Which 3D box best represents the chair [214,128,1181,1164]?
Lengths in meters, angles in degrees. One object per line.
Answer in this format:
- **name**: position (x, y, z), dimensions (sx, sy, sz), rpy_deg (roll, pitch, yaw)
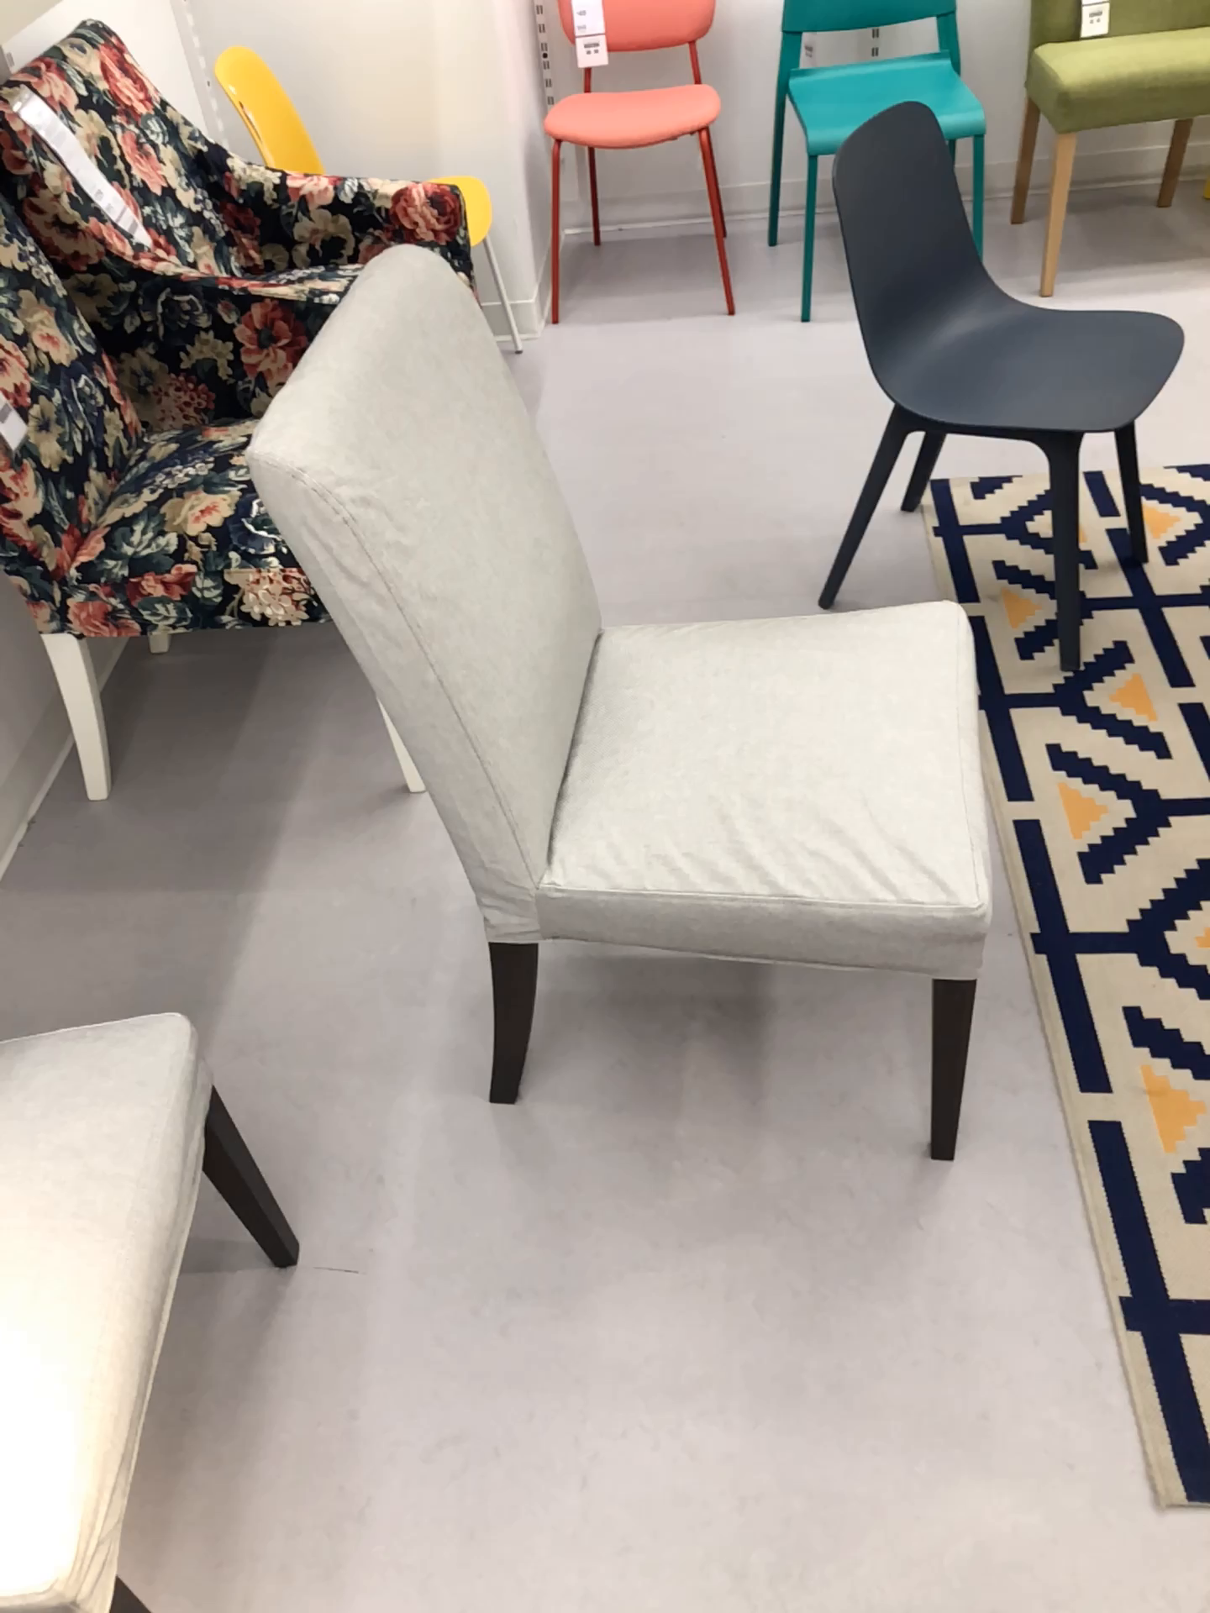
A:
- **chair**: position (0.121, -0.128, 1.364), dimensions (0.640, 0.854, 0.564), rpy_deg (1, 43, 9)
